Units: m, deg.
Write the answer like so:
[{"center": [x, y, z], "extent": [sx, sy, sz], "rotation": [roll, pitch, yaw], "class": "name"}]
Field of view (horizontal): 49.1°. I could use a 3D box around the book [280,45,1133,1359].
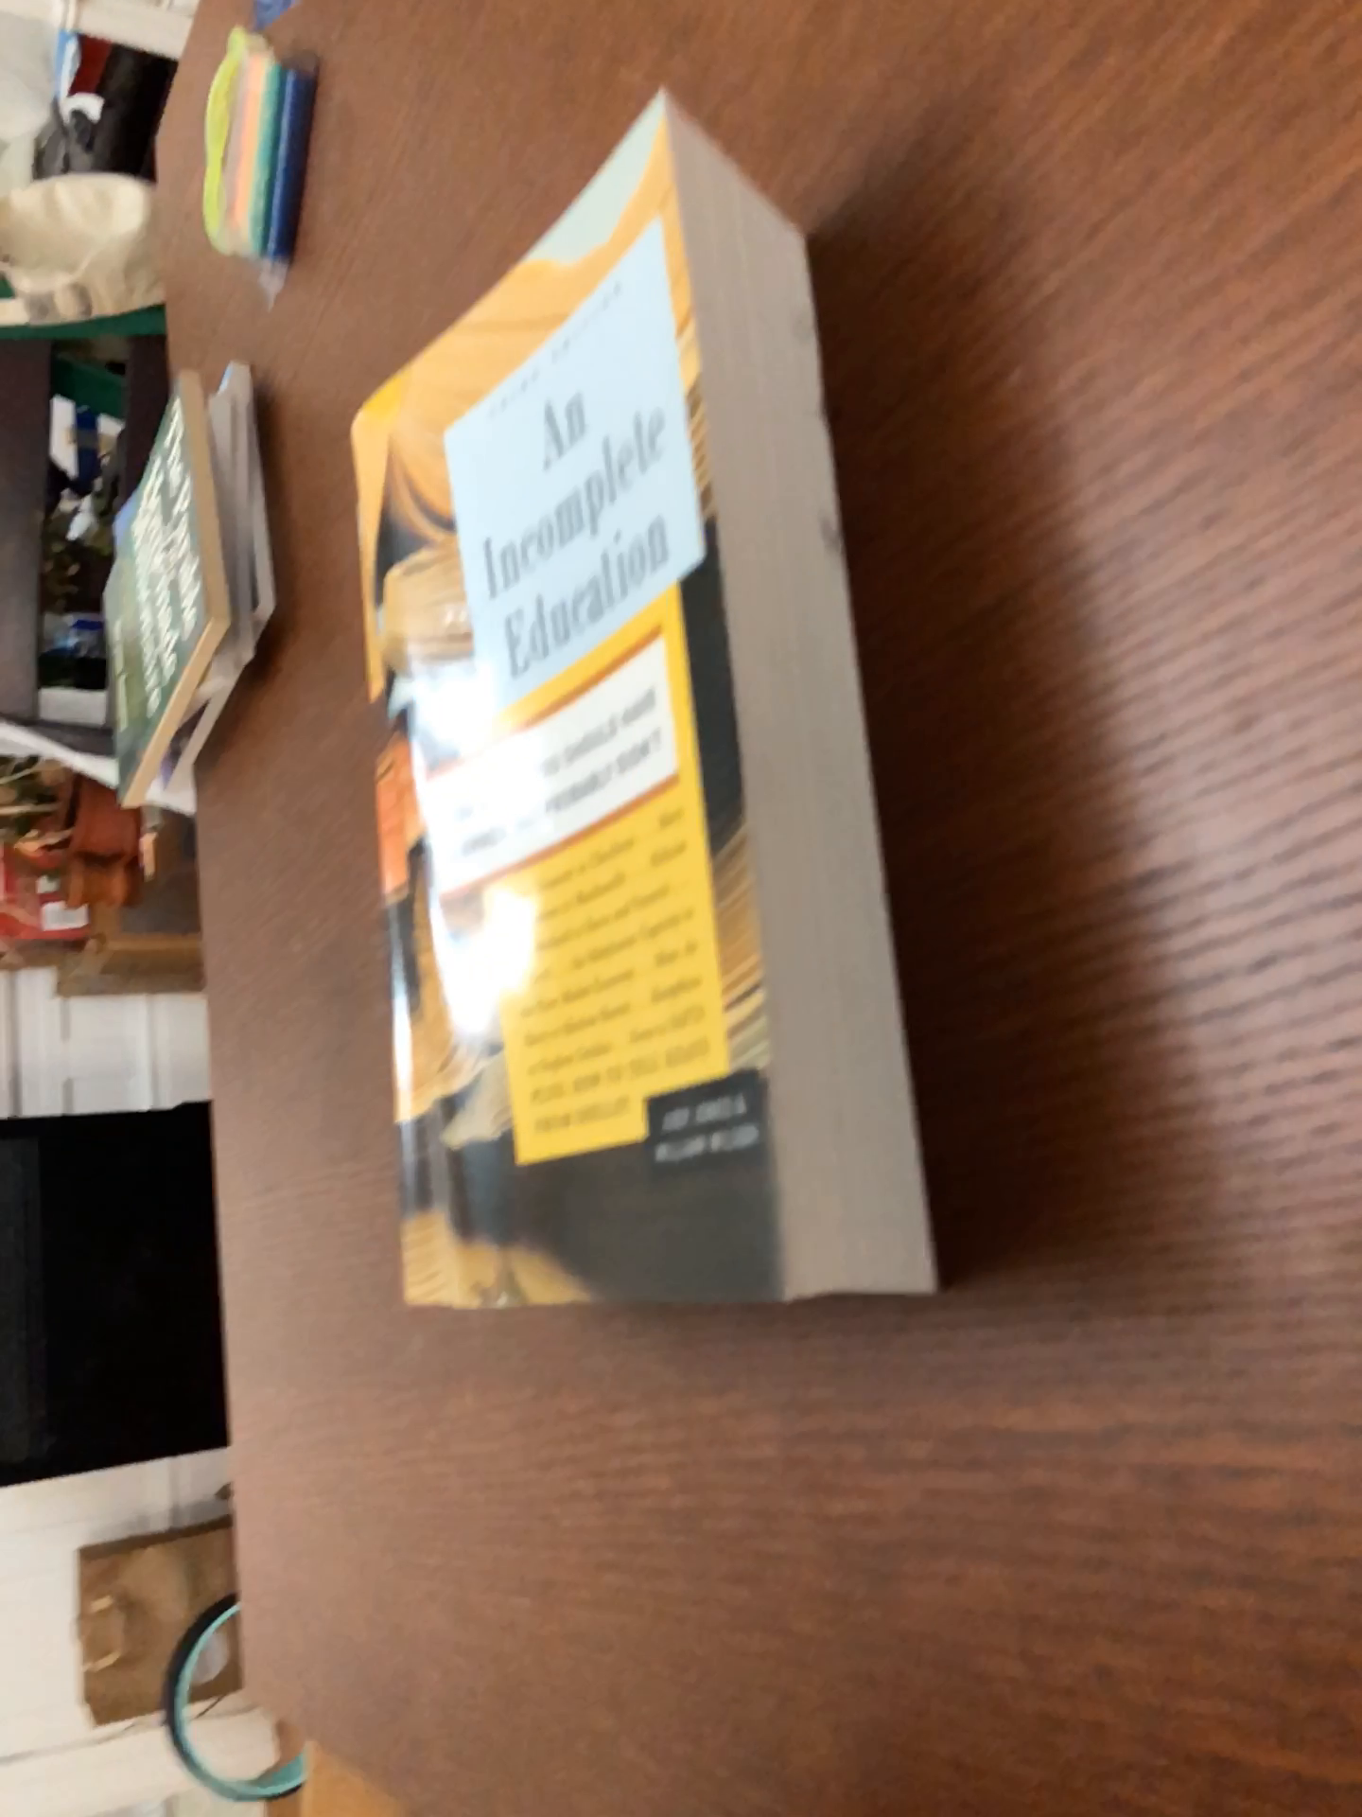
[{"center": [-0.019, -0.024, 0.367], "extent": [0.211, 0.060, 0.250], "rotation": [-21, 71, 48], "class": "book"}]
